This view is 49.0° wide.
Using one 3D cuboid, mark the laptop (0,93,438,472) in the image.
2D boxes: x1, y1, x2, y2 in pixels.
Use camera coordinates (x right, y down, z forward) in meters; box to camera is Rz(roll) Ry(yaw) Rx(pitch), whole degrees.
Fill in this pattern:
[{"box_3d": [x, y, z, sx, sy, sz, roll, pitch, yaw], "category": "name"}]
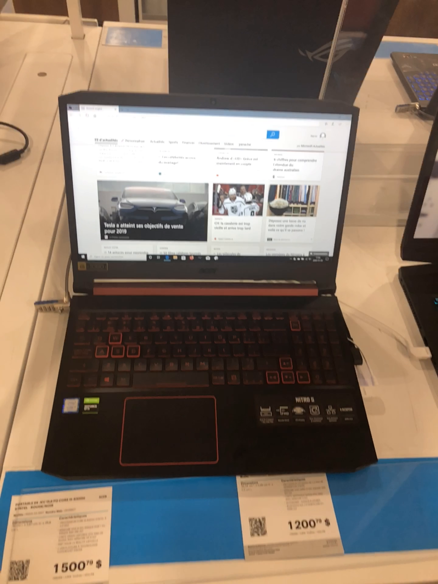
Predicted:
[{"box_3d": [-0.004, -0.021, 0.543, 0.357, 0.211, 0.360, 0, 52, -5], "category": "laptop"}]
